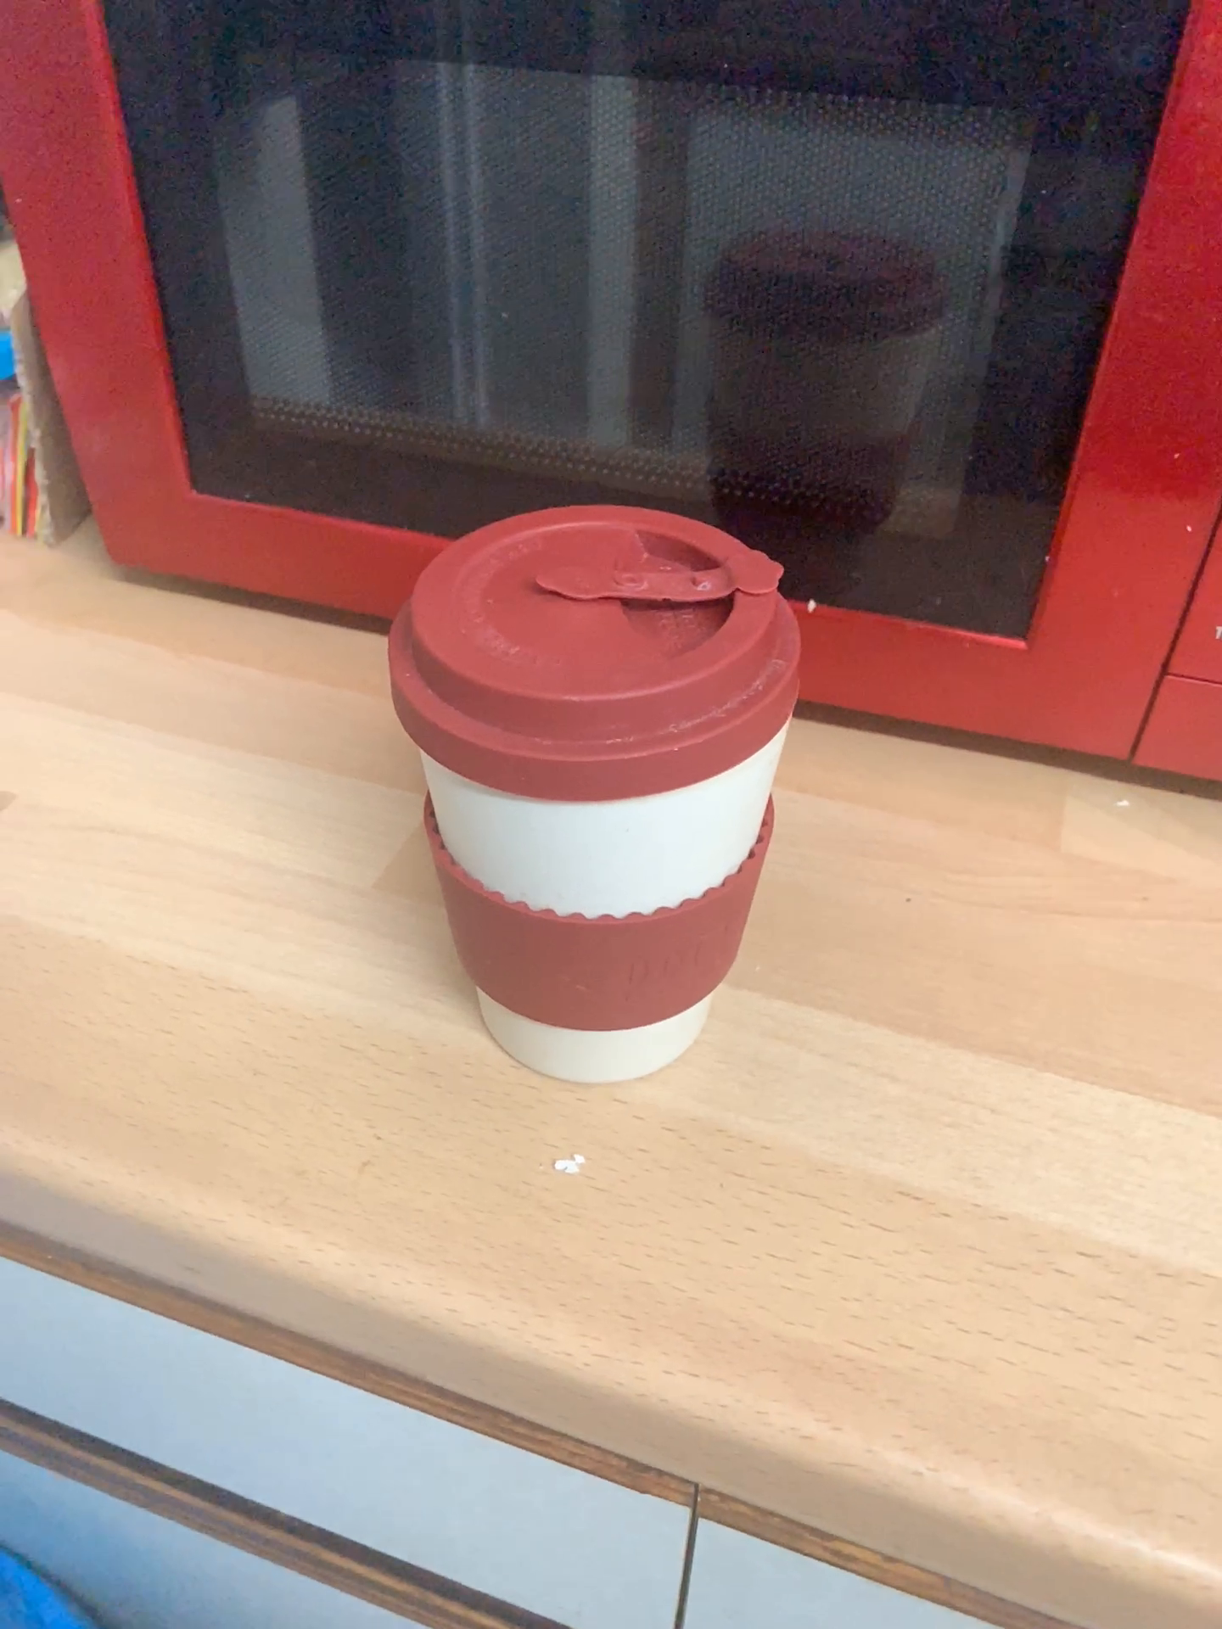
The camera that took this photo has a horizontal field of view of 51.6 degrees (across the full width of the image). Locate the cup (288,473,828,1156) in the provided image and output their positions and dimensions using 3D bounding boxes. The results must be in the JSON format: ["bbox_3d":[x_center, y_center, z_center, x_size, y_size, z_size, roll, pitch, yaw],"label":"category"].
[{"bbox_3d":[-0.007,-0.001,0.293,0.087,0.115,0.087,1,40,-1],"label":"cup"}]
